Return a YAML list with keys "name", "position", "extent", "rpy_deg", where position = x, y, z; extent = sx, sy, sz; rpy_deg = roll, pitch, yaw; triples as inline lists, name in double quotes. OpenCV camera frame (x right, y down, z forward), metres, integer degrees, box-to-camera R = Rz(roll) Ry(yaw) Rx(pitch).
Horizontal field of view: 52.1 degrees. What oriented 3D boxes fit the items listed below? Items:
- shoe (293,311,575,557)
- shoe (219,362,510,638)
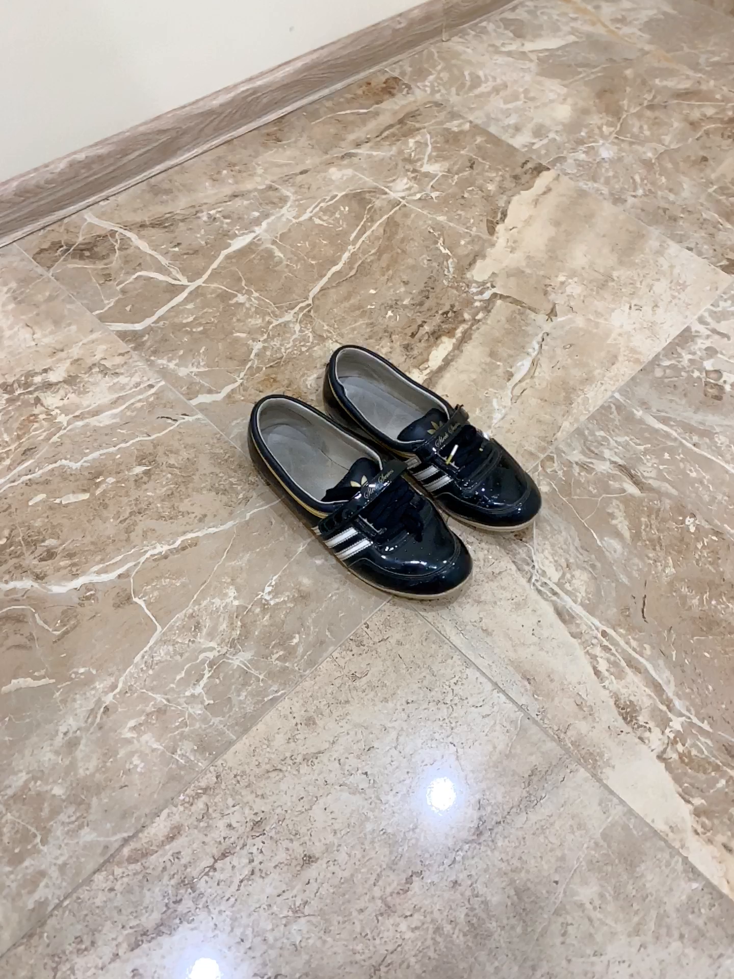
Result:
- name: "shoe"
  position: [0.054, -0.056, 0.683]
  extent: [0.240, 0.060, 0.095]
  rpy_deg: [37, 60, 18]
- name: "shoe"
  position: [-0.008, 0.002, 0.640]
  extent: [0.240, 0.060, 0.095]
  rpy_deg: [40, 62, 19]
